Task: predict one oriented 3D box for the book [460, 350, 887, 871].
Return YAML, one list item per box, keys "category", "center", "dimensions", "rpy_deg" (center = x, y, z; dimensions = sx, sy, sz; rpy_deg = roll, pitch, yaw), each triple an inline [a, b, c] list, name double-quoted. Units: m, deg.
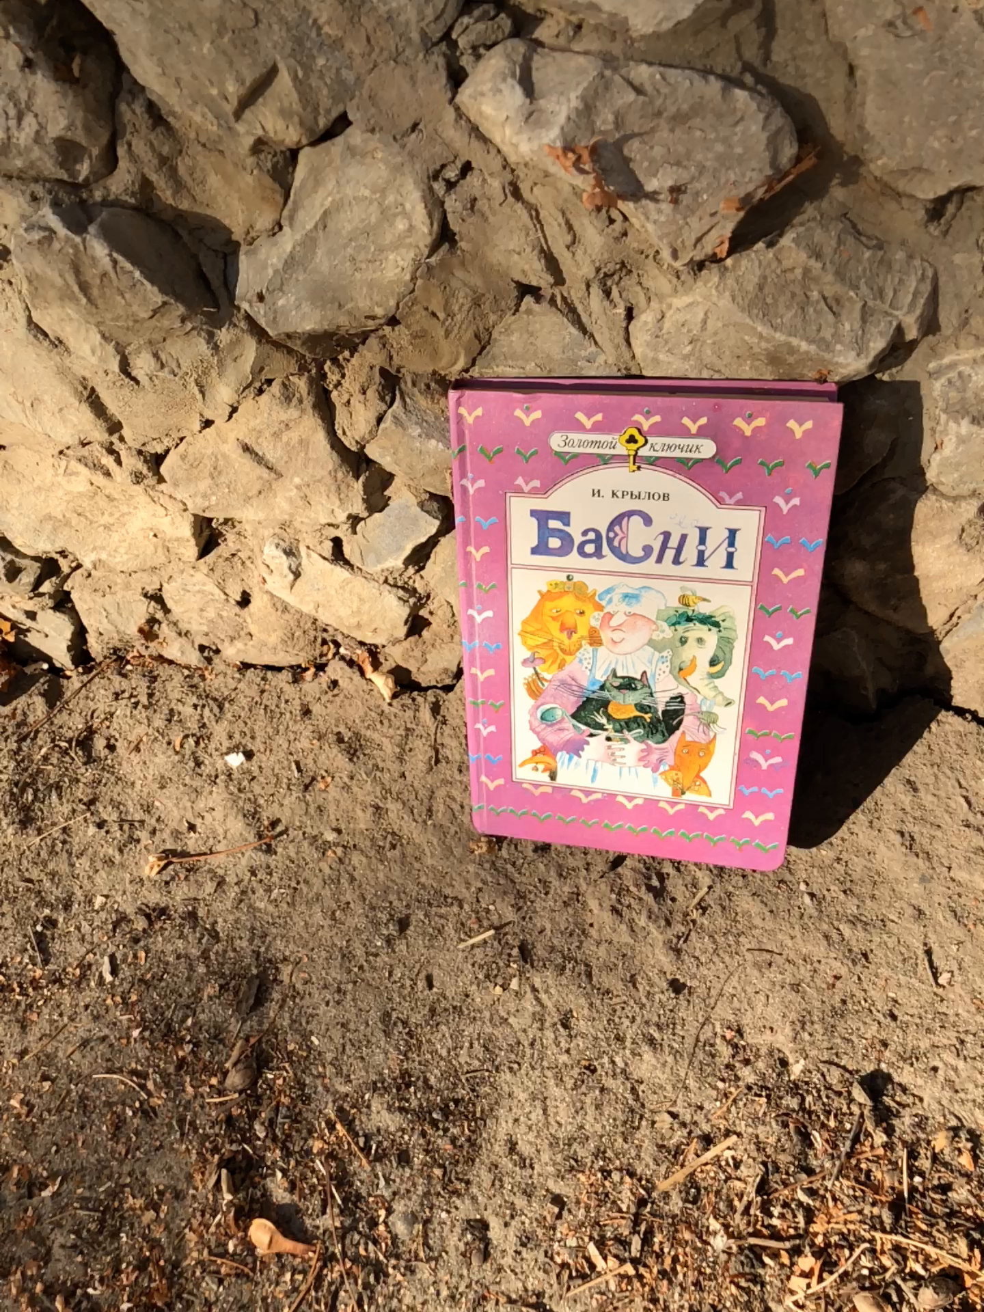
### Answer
- category: "book"
  center: [0.062, -0.012, 0.422]
  dimensions: [0.141, 0.201, 0.025]
  rpy_deg: [6, 30, 11]
